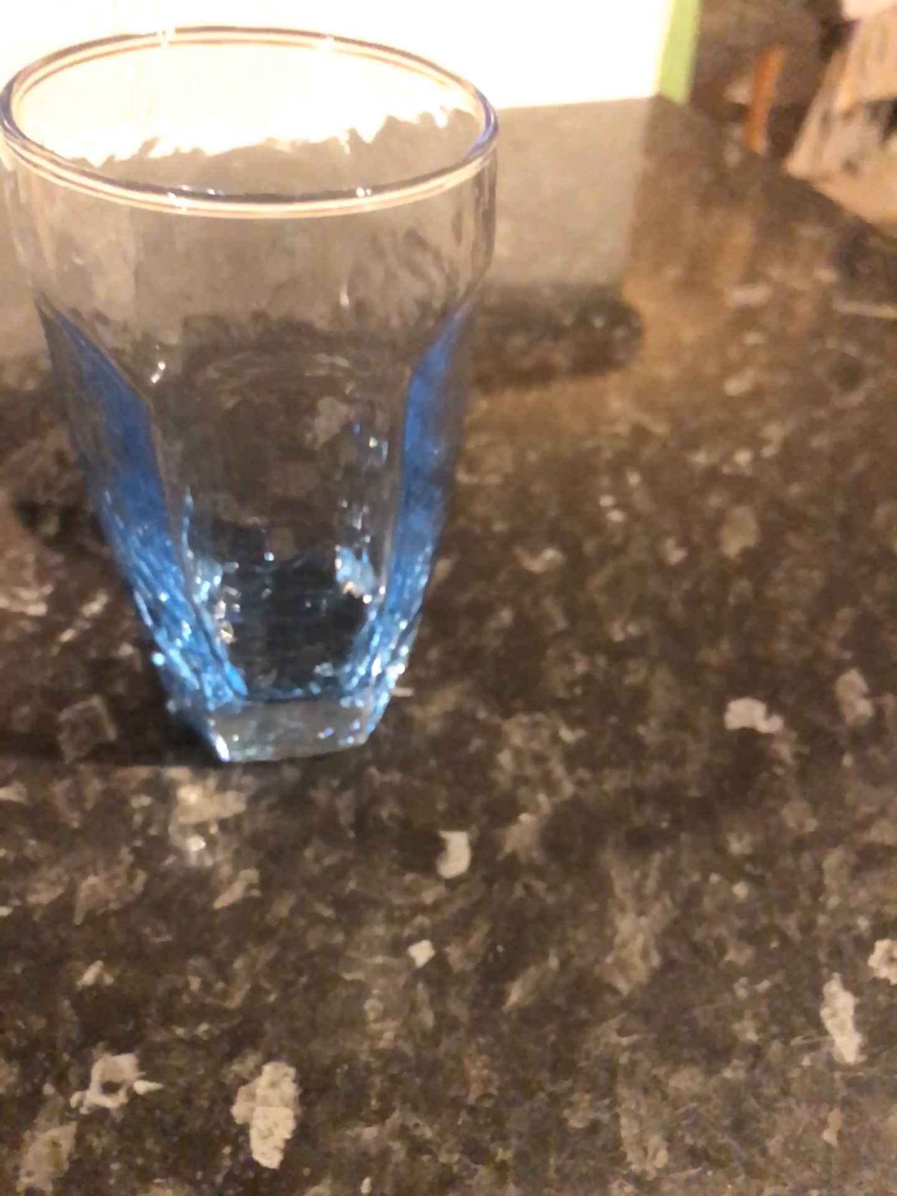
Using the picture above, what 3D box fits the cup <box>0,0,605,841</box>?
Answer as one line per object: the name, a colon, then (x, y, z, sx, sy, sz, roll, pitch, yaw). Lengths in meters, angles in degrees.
cup: (-0.030, -0.035, 0.184, 0.070, 0.119, 0.080, 24, 46, 18)
